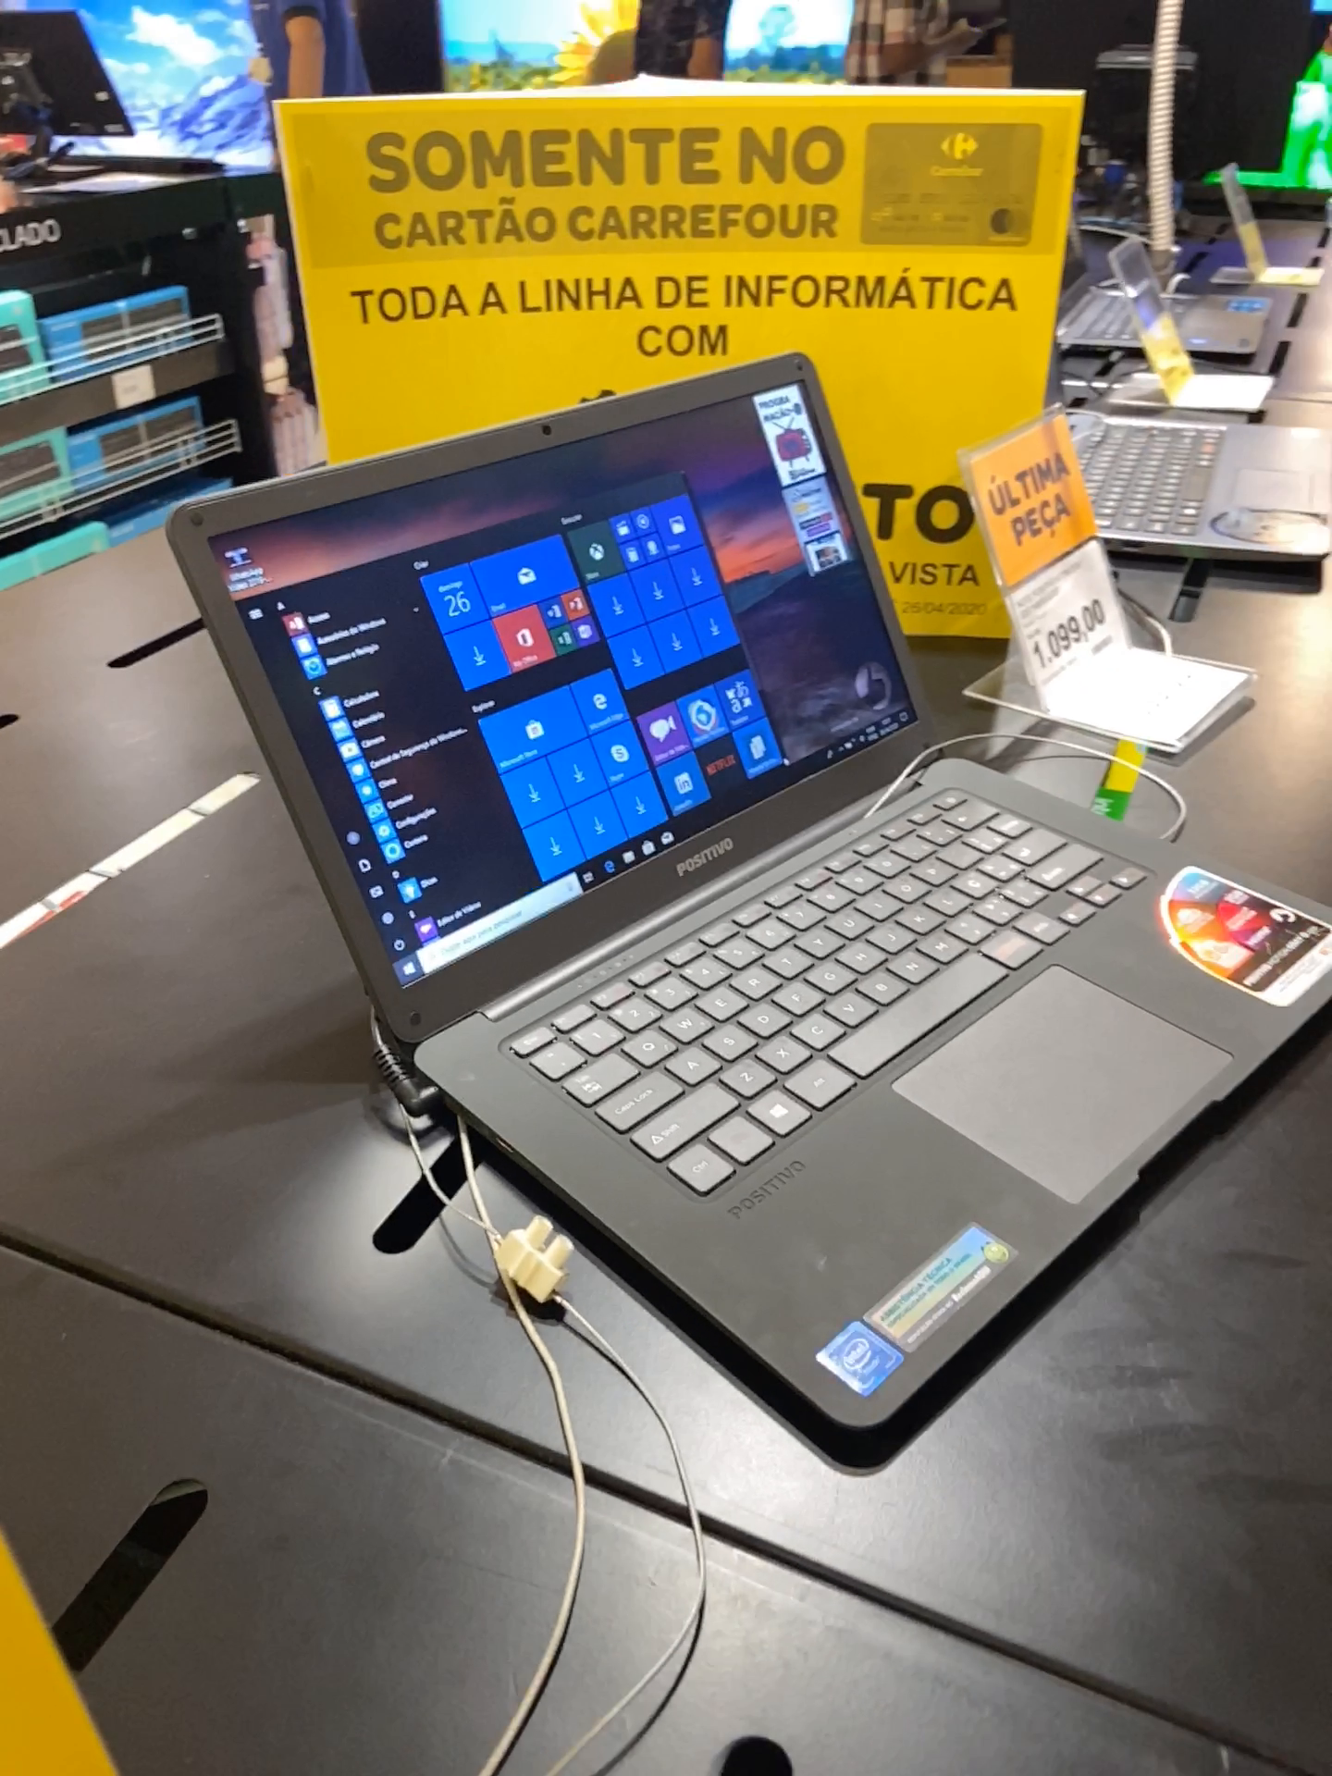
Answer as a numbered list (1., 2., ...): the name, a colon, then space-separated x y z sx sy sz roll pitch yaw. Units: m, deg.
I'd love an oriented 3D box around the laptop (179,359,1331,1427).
1. laptop: 0.055 -0.050 0.468 0.297 0.159 0.292 -28 41 -34
